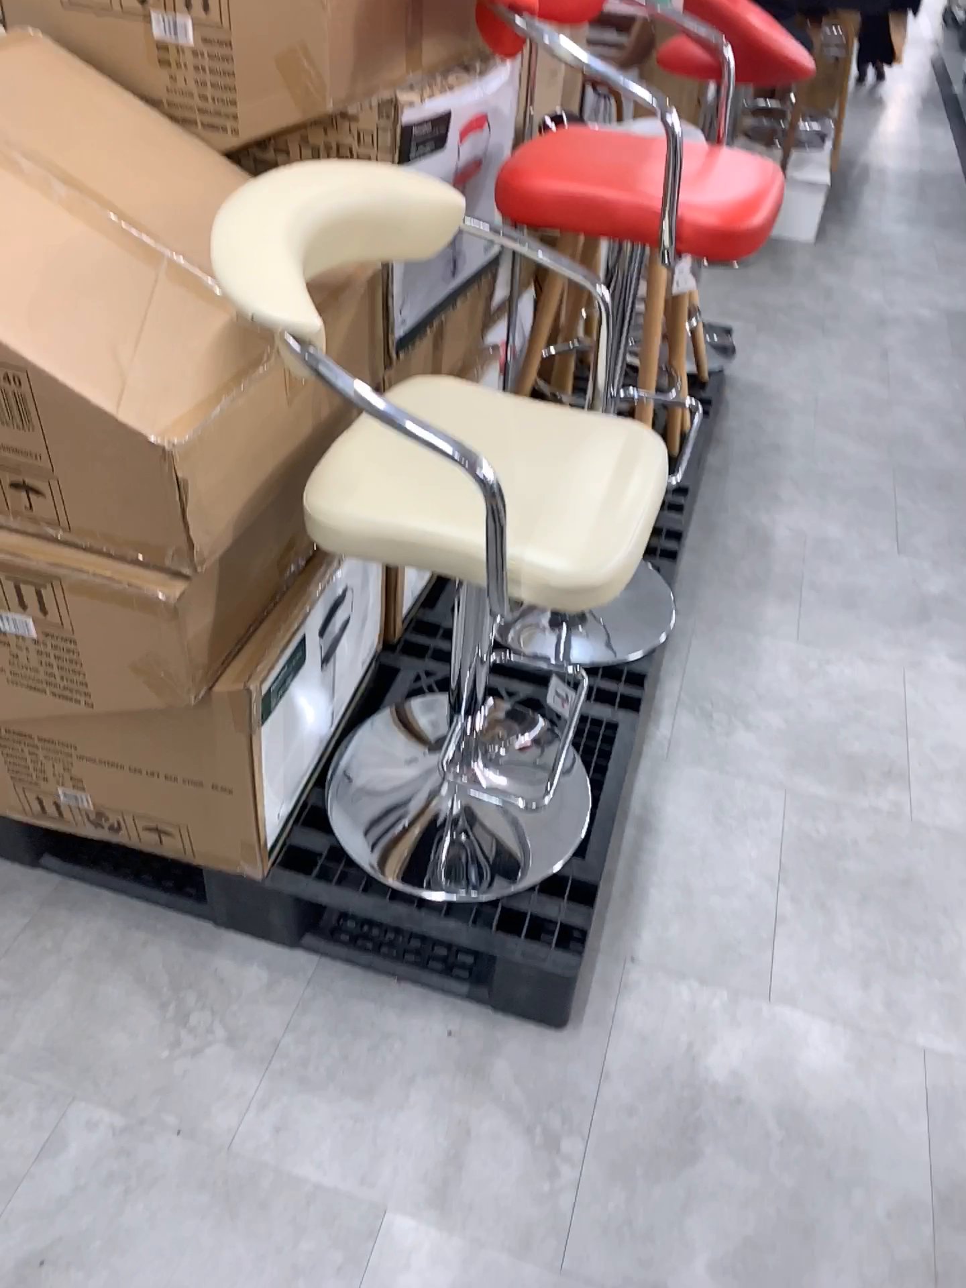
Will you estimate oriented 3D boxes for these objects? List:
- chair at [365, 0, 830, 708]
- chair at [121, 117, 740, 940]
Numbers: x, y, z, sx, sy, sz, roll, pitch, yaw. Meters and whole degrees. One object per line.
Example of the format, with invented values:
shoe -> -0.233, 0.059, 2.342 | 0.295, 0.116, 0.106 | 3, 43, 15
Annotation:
chair -> 0.147, -0.499, 1.612 | 0.519, 1.059, 0.478 | 13, 40, 11
chair -> -0.038, -0.128, 1.259 | 0.499, 0.841, 0.468 | 13, 40, 11
